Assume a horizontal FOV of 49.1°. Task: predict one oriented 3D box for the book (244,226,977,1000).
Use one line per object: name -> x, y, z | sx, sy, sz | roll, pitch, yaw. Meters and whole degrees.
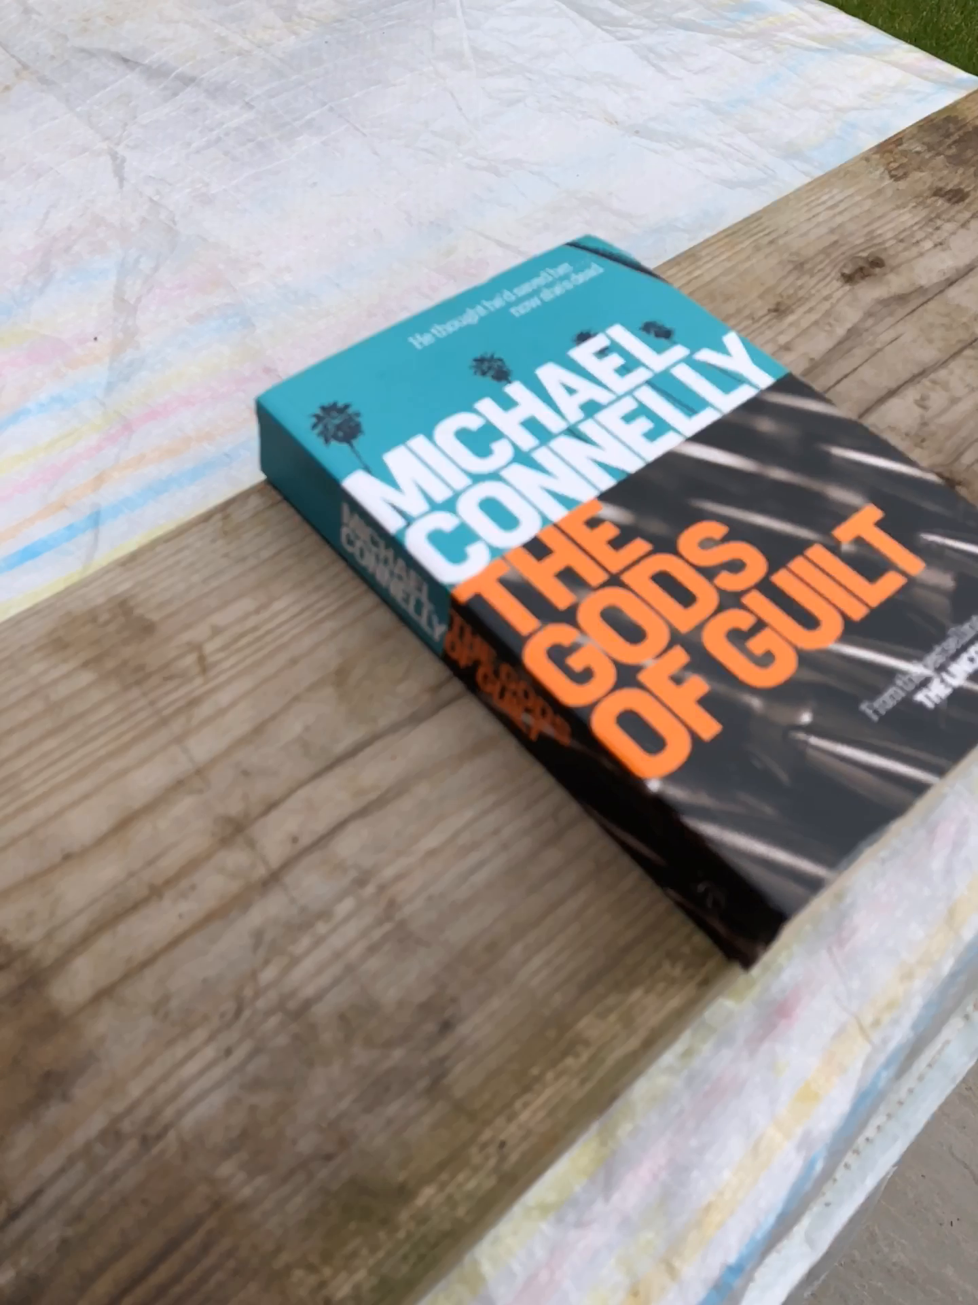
book -> 0.049, -0.031, 0.300 | 0.141, 0.040, 0.200 | -34, 63, -26
